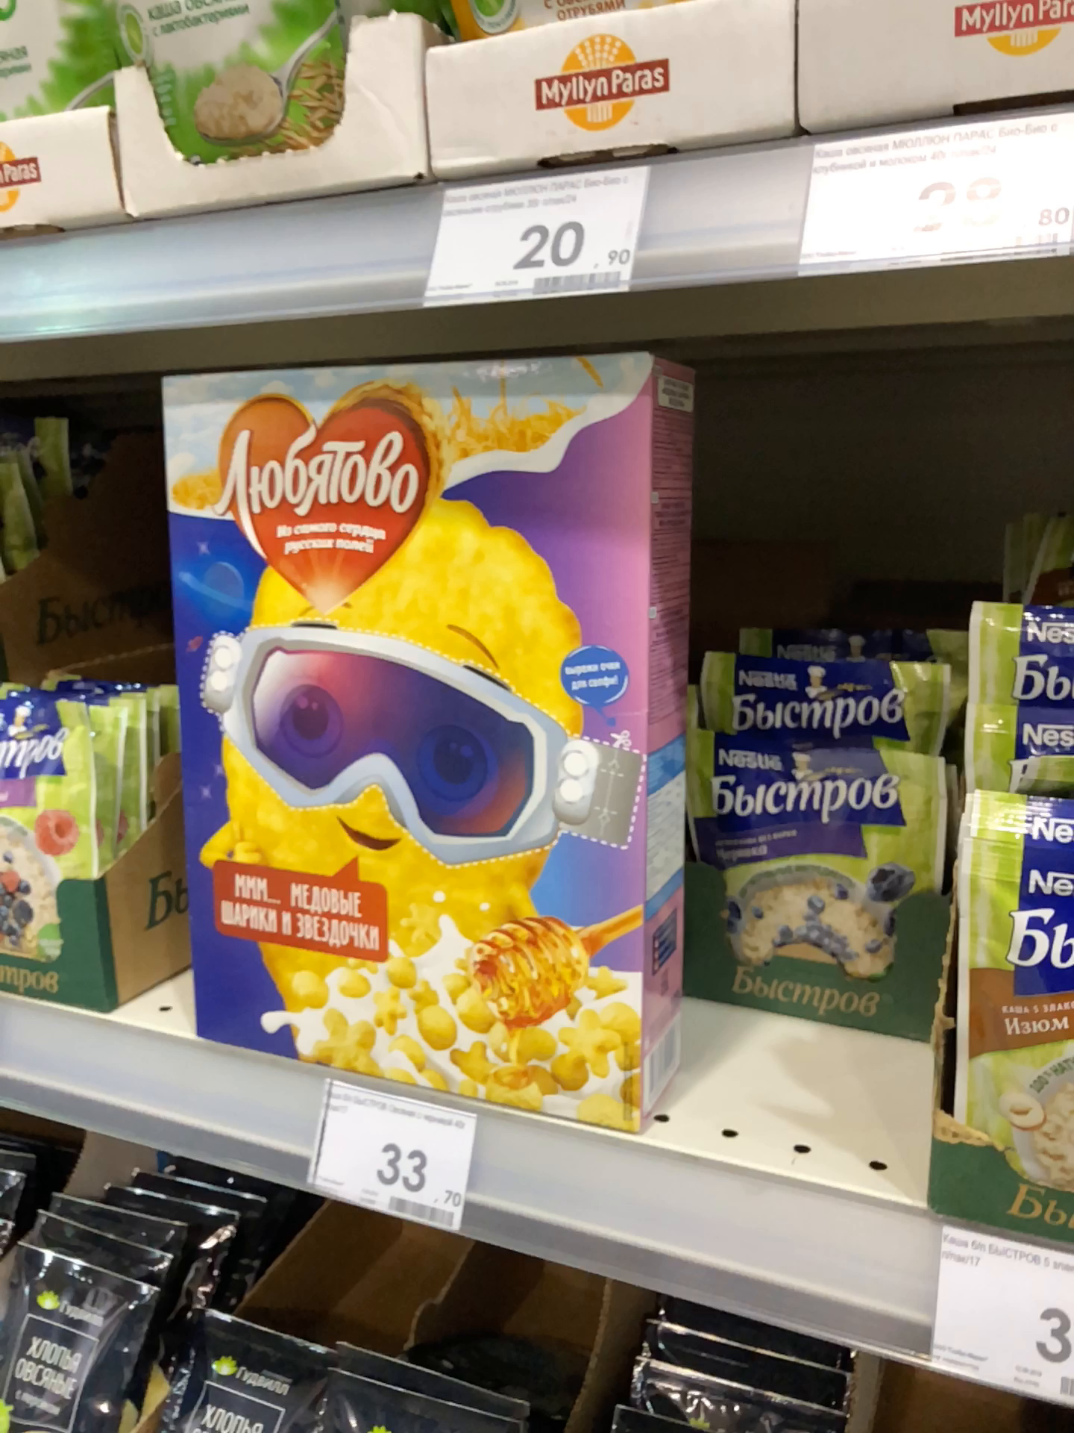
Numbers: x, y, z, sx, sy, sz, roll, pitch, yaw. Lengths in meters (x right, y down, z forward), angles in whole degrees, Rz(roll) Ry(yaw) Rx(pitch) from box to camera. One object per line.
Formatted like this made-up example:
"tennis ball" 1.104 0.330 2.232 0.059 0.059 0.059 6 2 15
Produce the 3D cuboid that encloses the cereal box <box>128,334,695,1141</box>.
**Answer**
"cereal box" -0.048 0.003 0.438 0.200 0.259 0.050 4 10 24
